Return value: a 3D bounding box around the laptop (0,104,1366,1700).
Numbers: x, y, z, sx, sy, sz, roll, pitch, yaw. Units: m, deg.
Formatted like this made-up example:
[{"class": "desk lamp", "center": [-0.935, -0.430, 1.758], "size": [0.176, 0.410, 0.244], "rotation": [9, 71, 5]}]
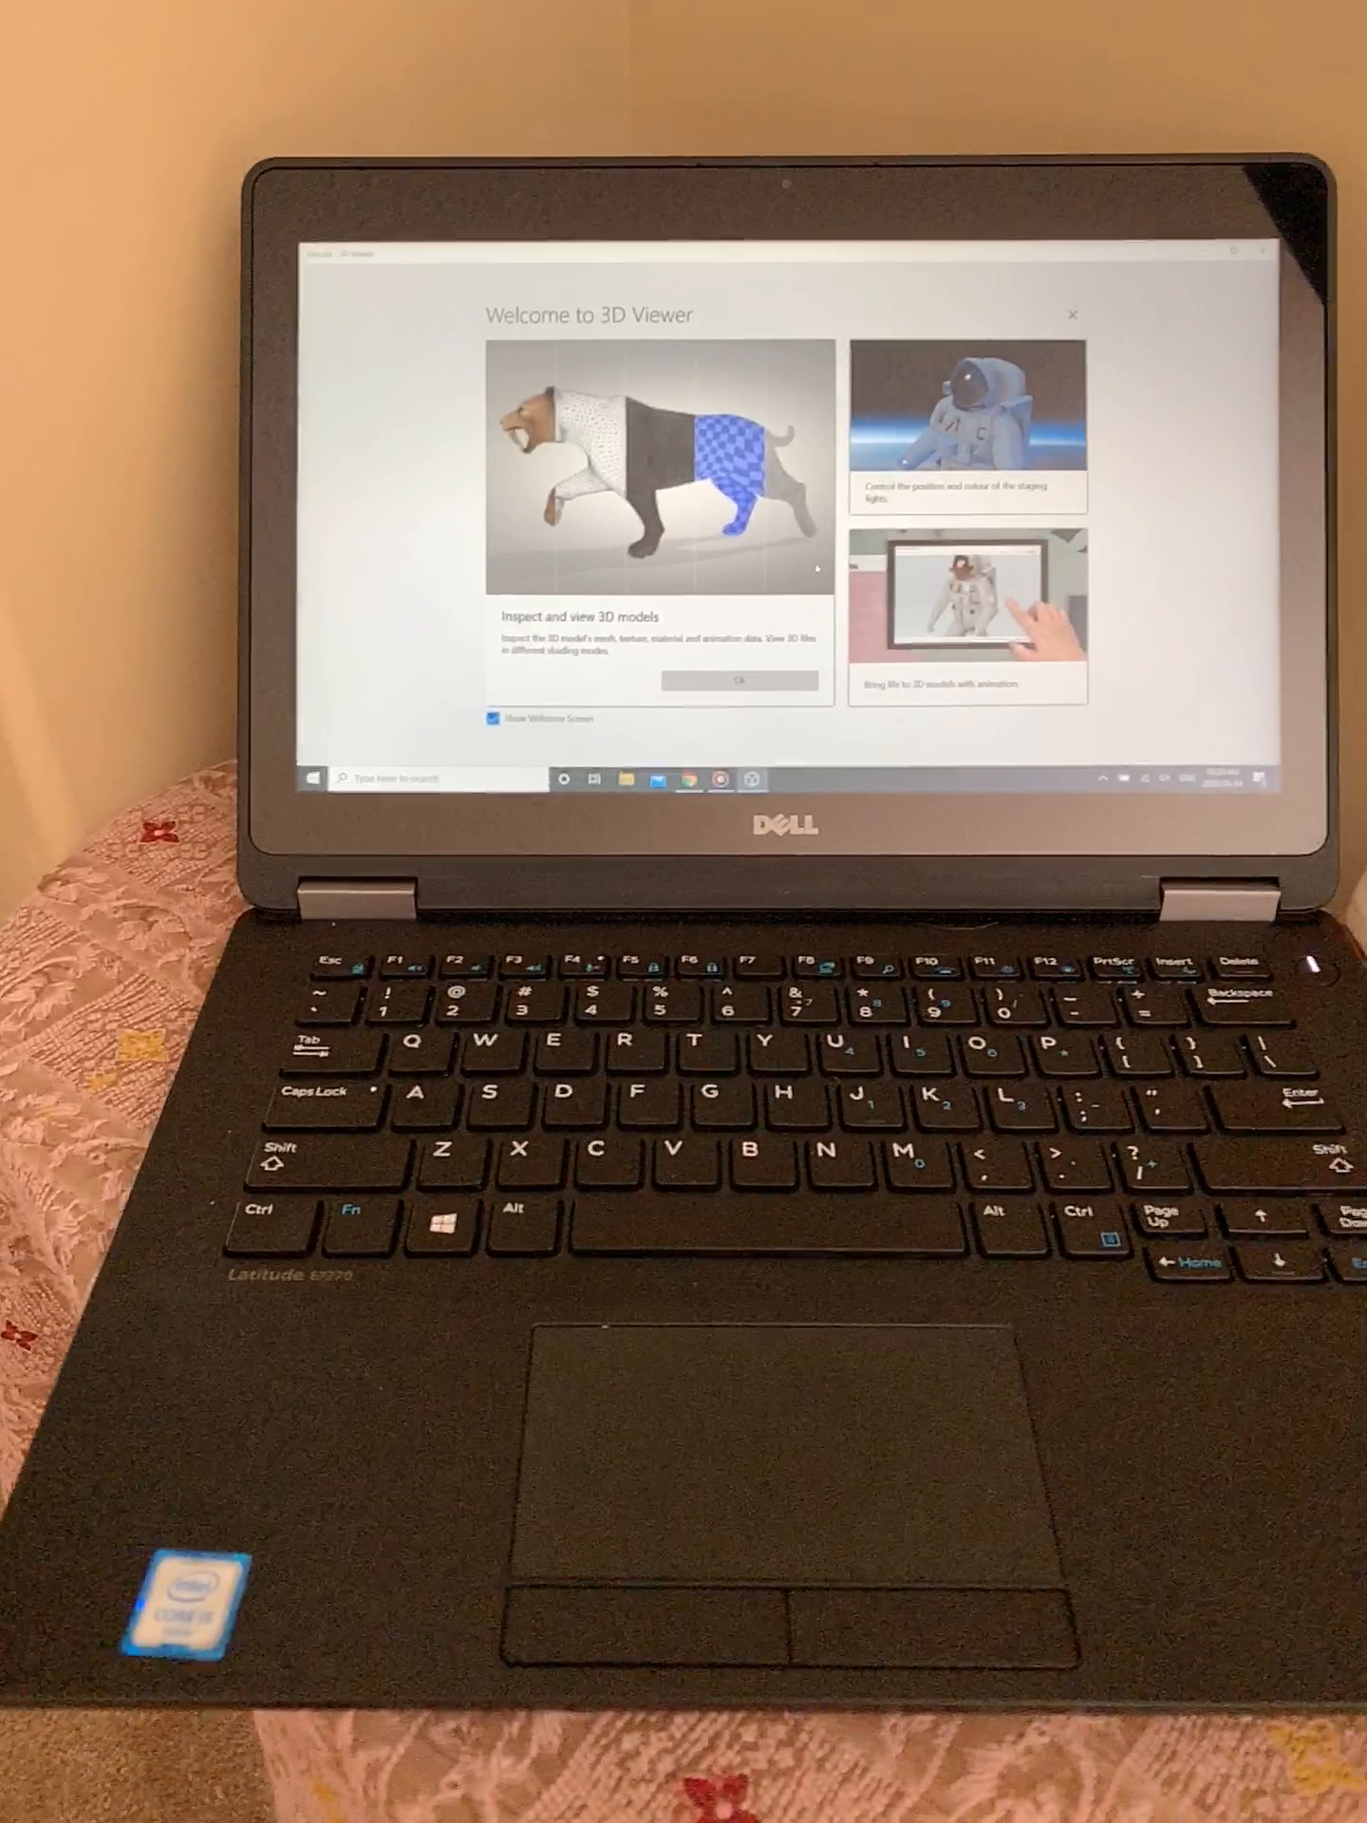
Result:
[{"class": "laptop", "center": [0.035, -0.058, 0.385], "size": [0.365, 0.186, 0.424], "rotation": [0, 42, 1]}]
